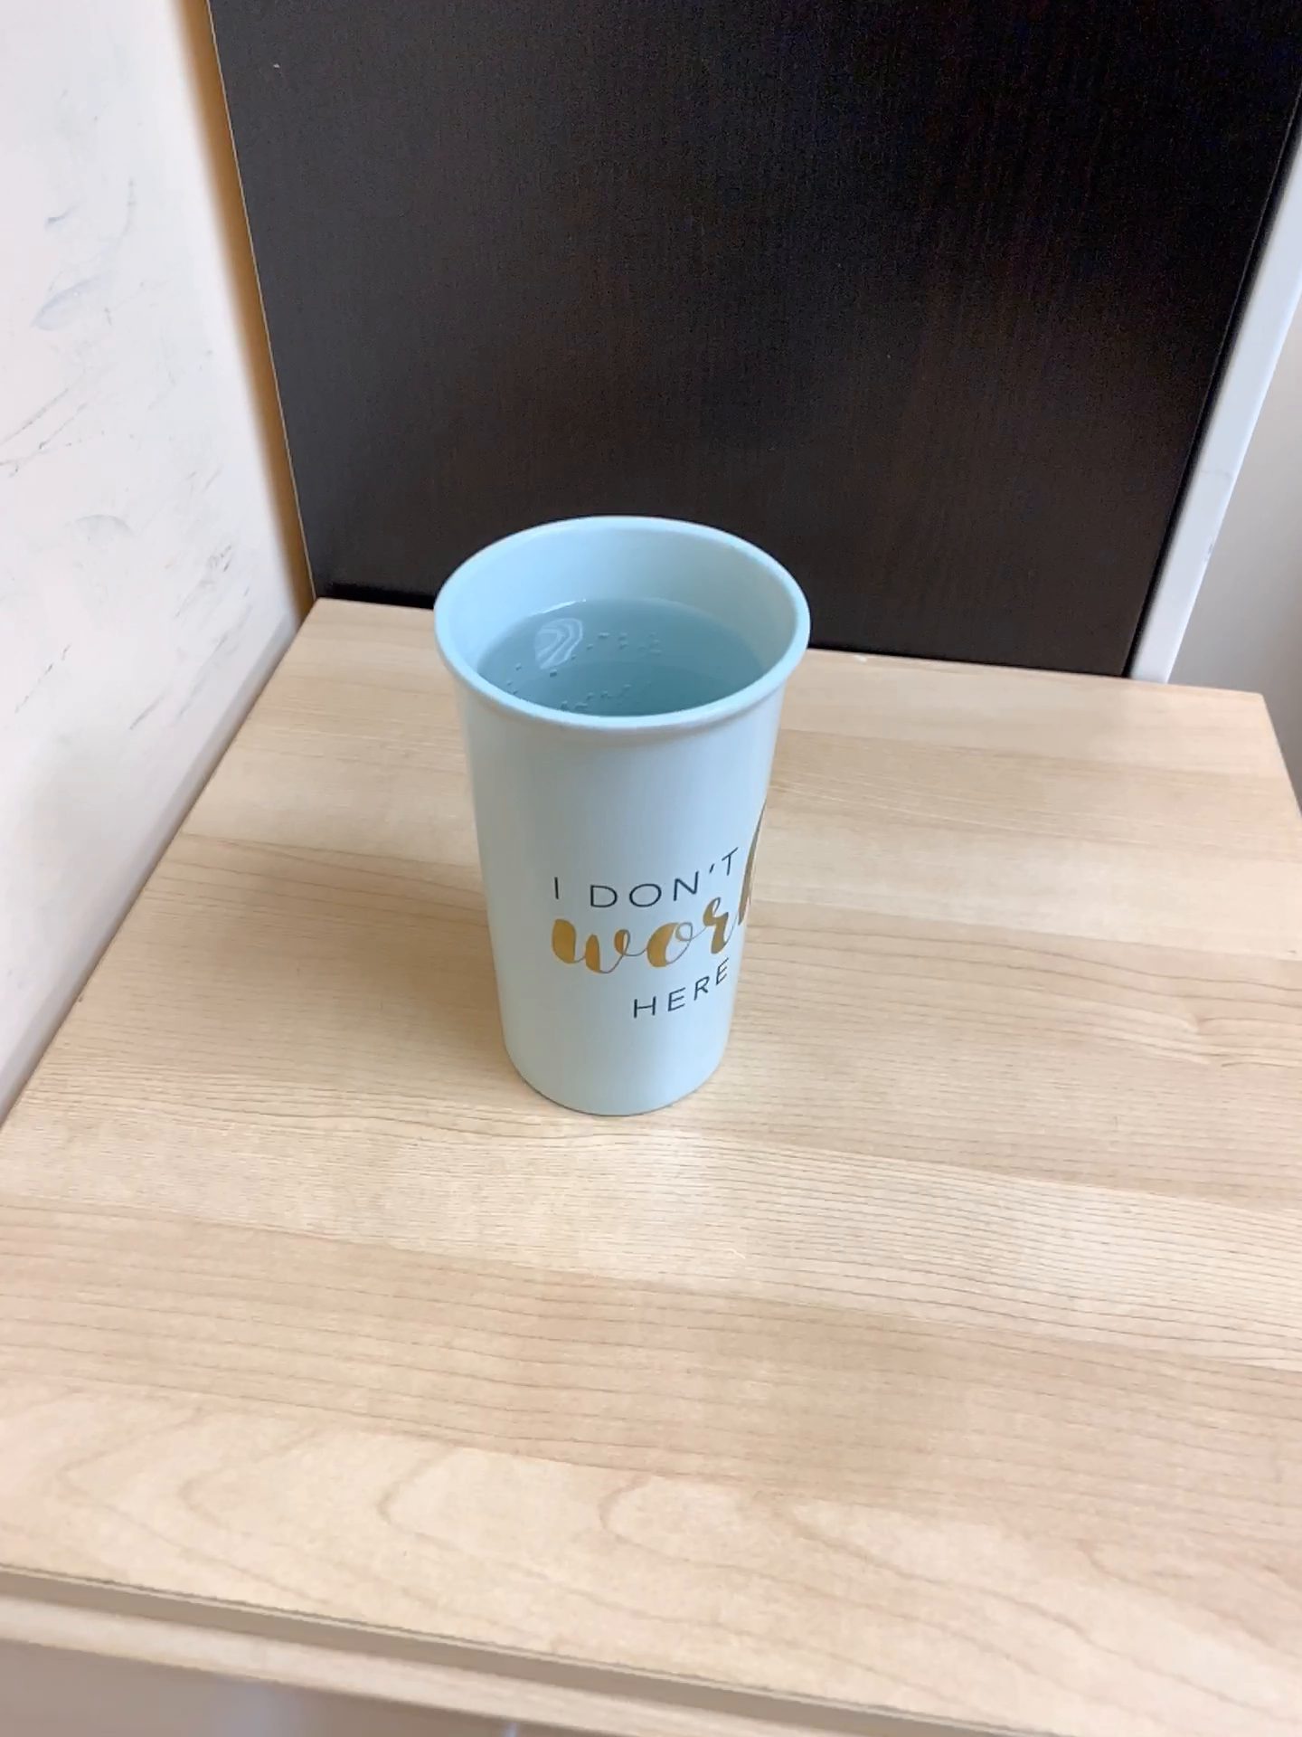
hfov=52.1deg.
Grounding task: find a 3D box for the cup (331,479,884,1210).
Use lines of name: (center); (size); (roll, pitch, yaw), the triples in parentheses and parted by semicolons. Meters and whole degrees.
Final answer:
cup: (-0.010, -0.006, 0.376); (0.090, 0.155, 0.100); (31, 50, 27)
